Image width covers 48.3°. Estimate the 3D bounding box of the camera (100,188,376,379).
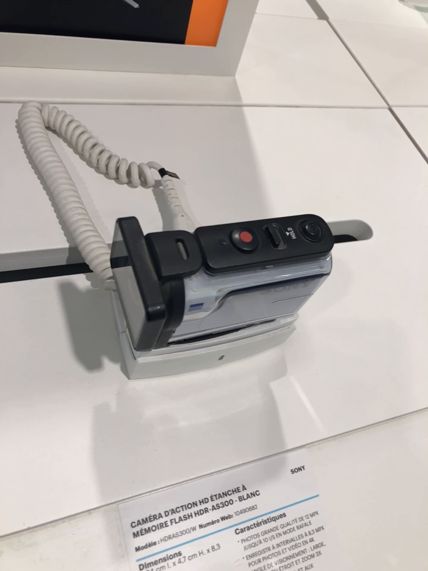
[{"bbox_3d":[0.007,-0.003,0.194,0.093,0.044,0.049,-9,59,-23],"label":"camera"}]
